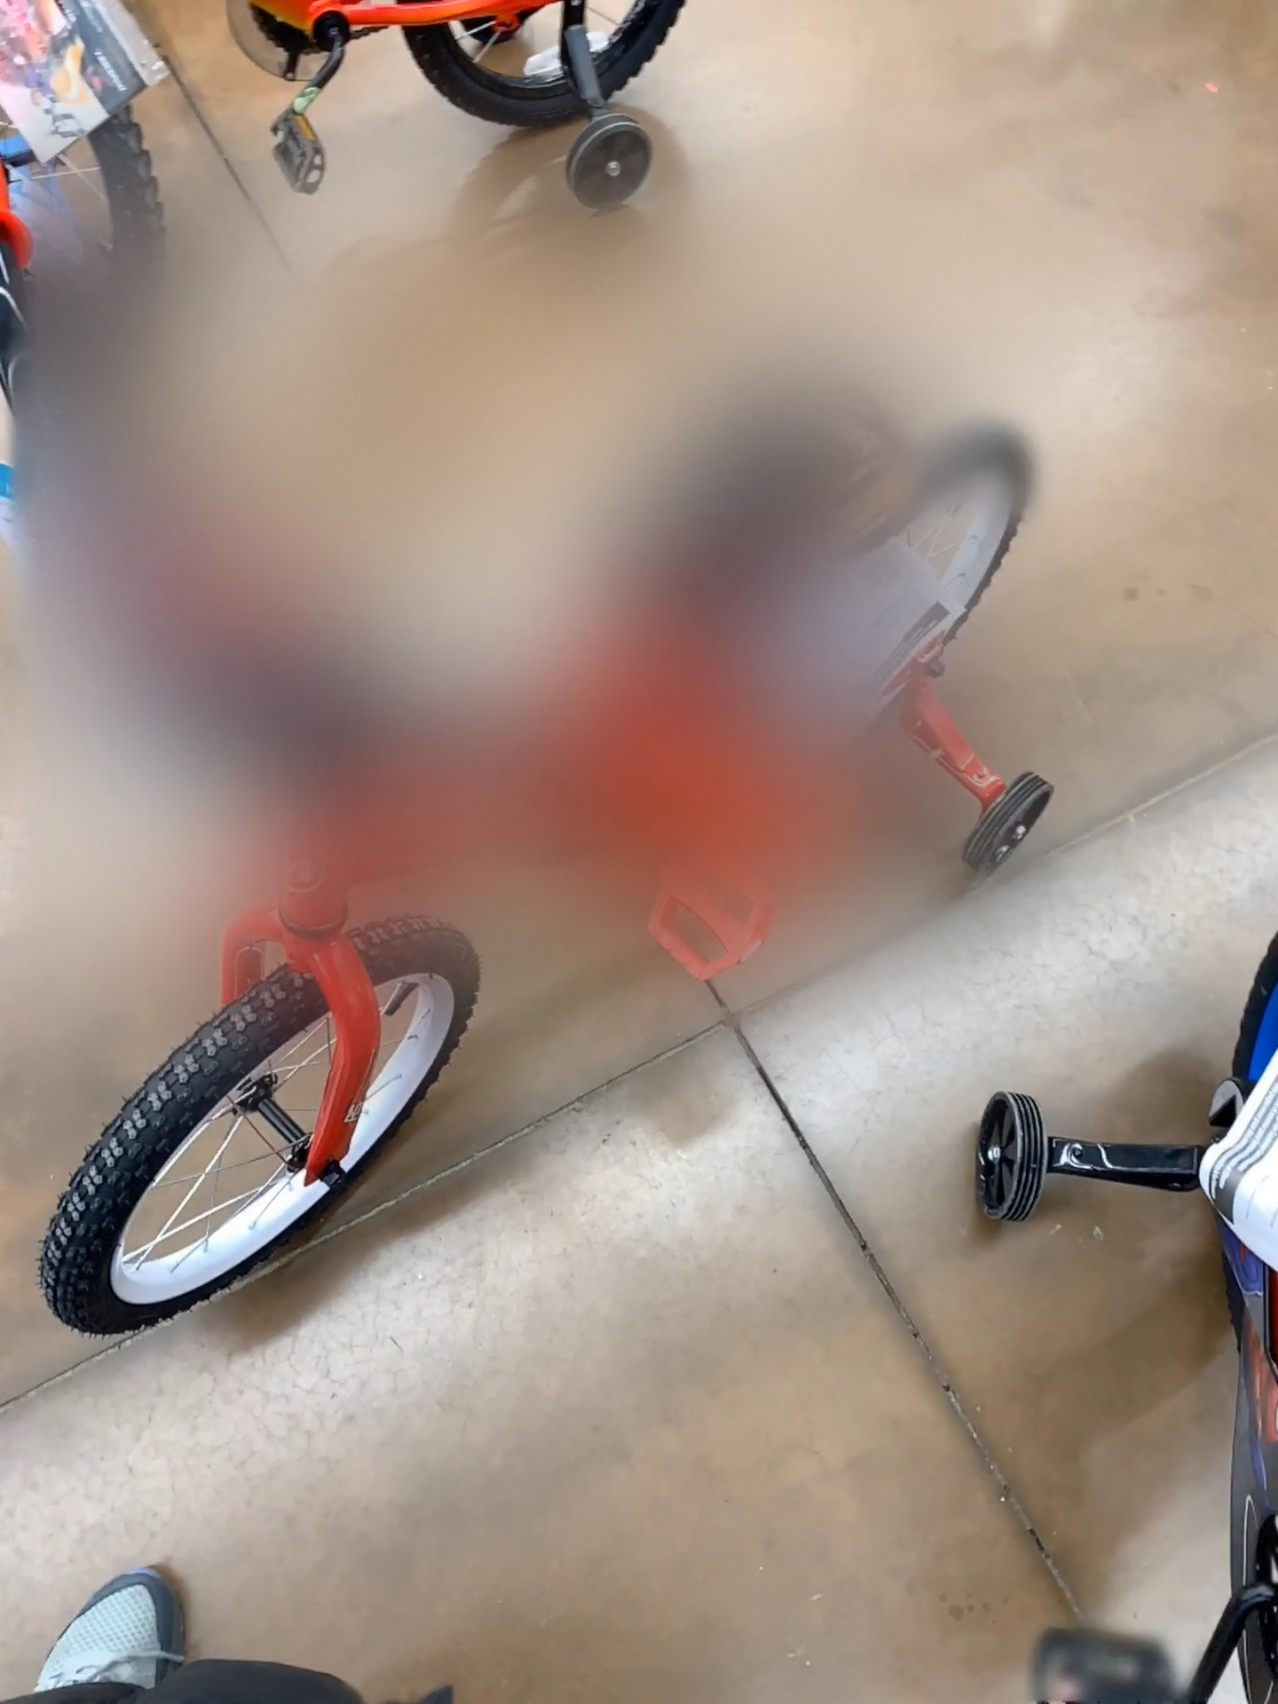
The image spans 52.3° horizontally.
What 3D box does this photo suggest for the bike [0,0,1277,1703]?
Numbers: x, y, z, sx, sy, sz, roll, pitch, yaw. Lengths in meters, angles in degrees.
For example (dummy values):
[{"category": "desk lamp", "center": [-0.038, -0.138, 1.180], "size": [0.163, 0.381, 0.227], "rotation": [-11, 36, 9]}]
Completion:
[{"category": "bike", "center": [0.021, -0.080, 0.937], "size": [0.516, 0.956, 1.141], "rotation": [42, 68, 18]}]
